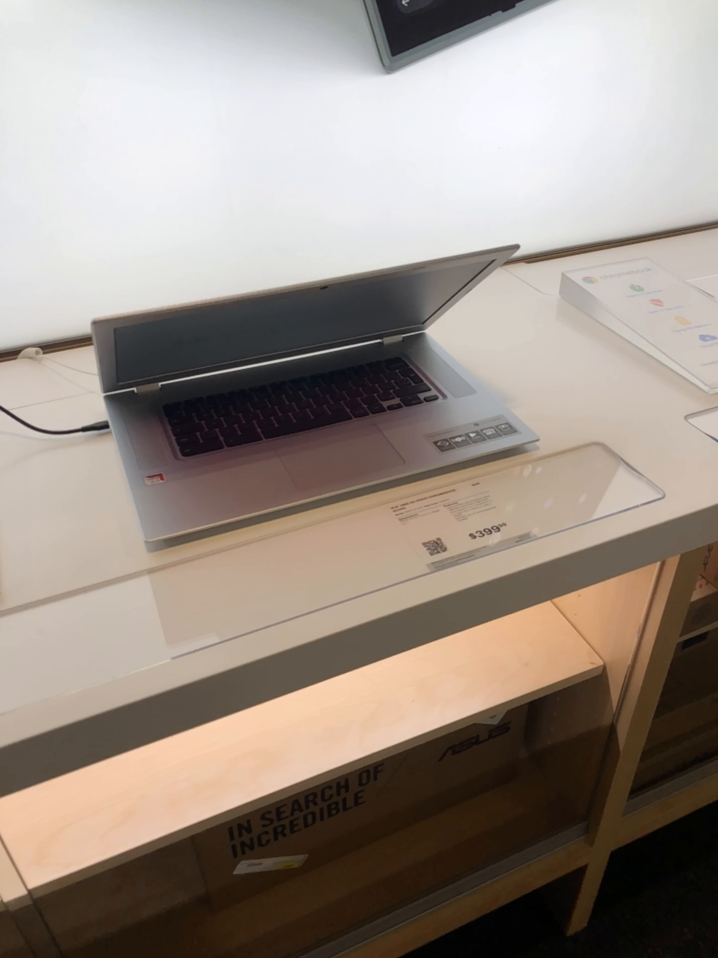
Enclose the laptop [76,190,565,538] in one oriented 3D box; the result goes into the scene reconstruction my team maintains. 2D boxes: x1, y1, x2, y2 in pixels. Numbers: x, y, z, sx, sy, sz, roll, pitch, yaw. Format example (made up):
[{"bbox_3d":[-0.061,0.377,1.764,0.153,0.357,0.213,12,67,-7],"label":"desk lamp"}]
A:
[{"bbox_3d":[-0.047,-0.131,0.738,0.368,0.166,0.256,-14,37,-17],"label":"laptop"}]
